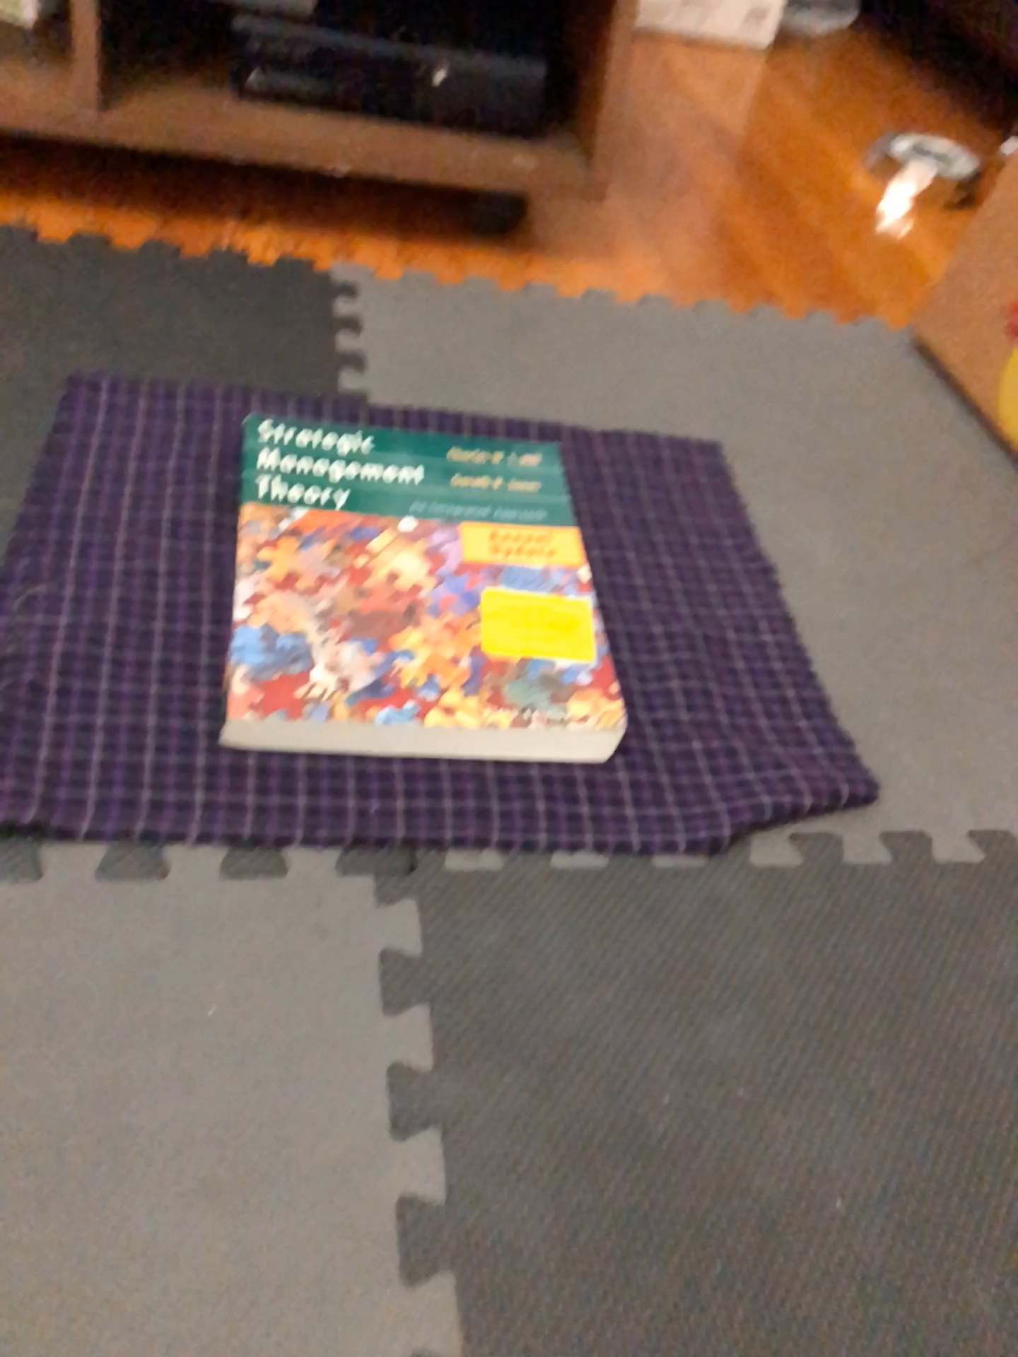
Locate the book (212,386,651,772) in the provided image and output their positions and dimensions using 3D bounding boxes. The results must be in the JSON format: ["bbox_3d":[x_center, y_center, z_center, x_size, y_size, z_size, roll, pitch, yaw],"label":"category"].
[{"bbox_3d":[-0.053,-0.071,0.688,0.230,0.040,0.281,3,48,-12],"label":"book"}]
